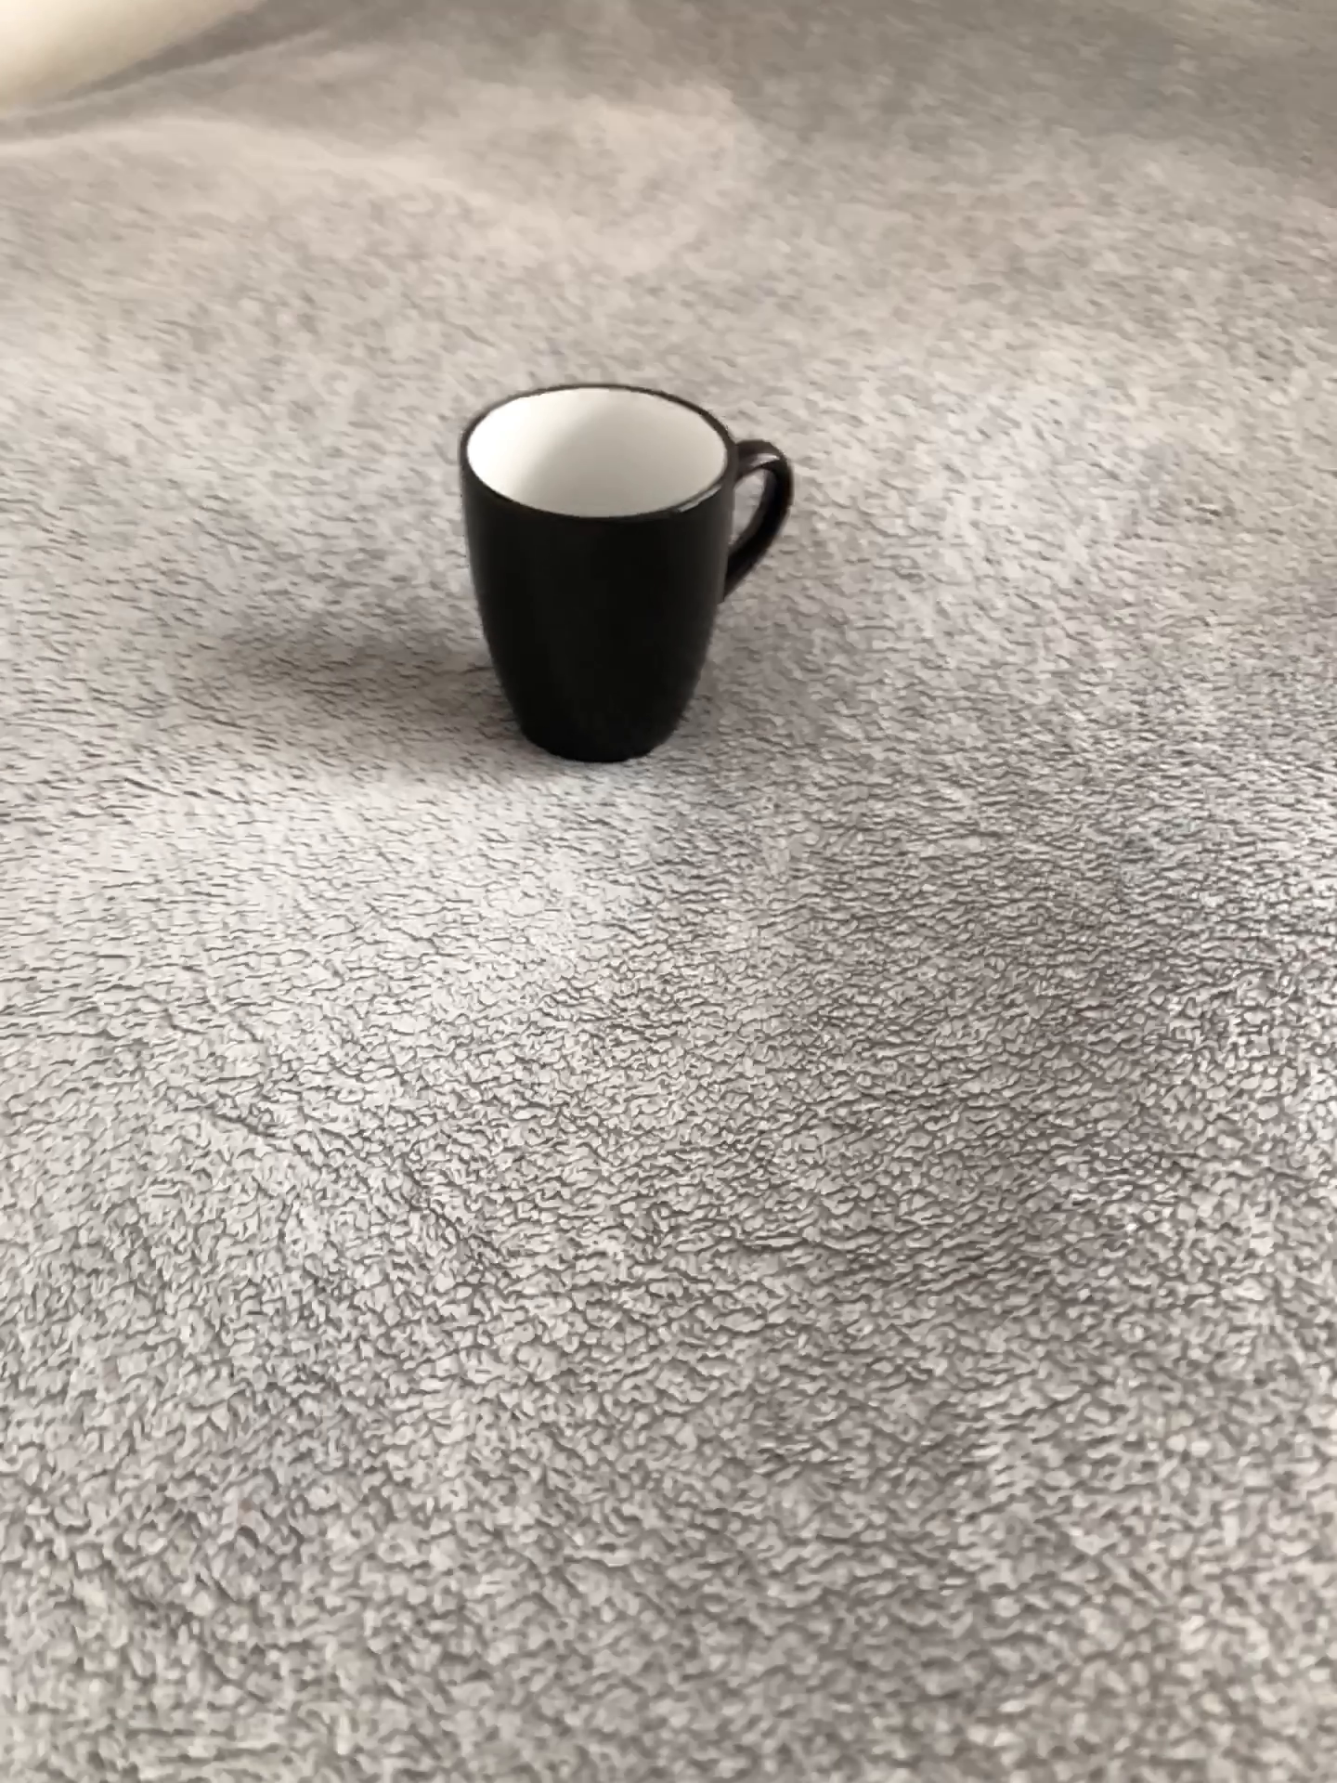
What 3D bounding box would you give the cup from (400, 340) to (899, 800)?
[{"bbox_3d":[-0.006,-0.111,0.494,0.128,0.089,0.090,-25,48,-27],"label":"cup"}]
